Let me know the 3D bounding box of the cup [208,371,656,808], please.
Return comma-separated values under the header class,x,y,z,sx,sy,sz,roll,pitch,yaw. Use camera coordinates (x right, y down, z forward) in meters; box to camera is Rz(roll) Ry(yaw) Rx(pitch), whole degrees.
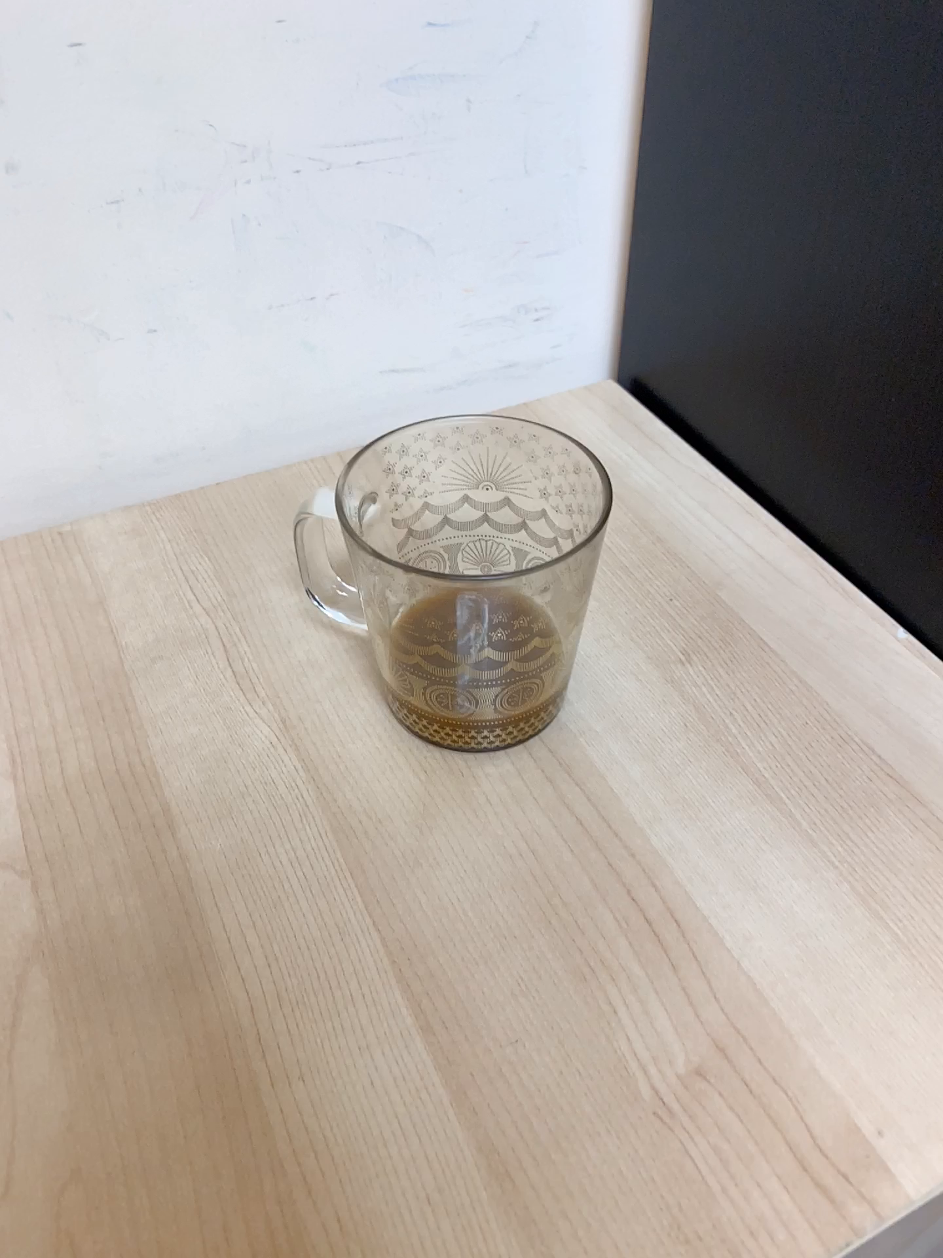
class,x,y,z,sx,sy,sz,roll,pitch,yaw
cup,-0.010,-0.019,0.368,0.125,0.098,0.099,17,45,18
